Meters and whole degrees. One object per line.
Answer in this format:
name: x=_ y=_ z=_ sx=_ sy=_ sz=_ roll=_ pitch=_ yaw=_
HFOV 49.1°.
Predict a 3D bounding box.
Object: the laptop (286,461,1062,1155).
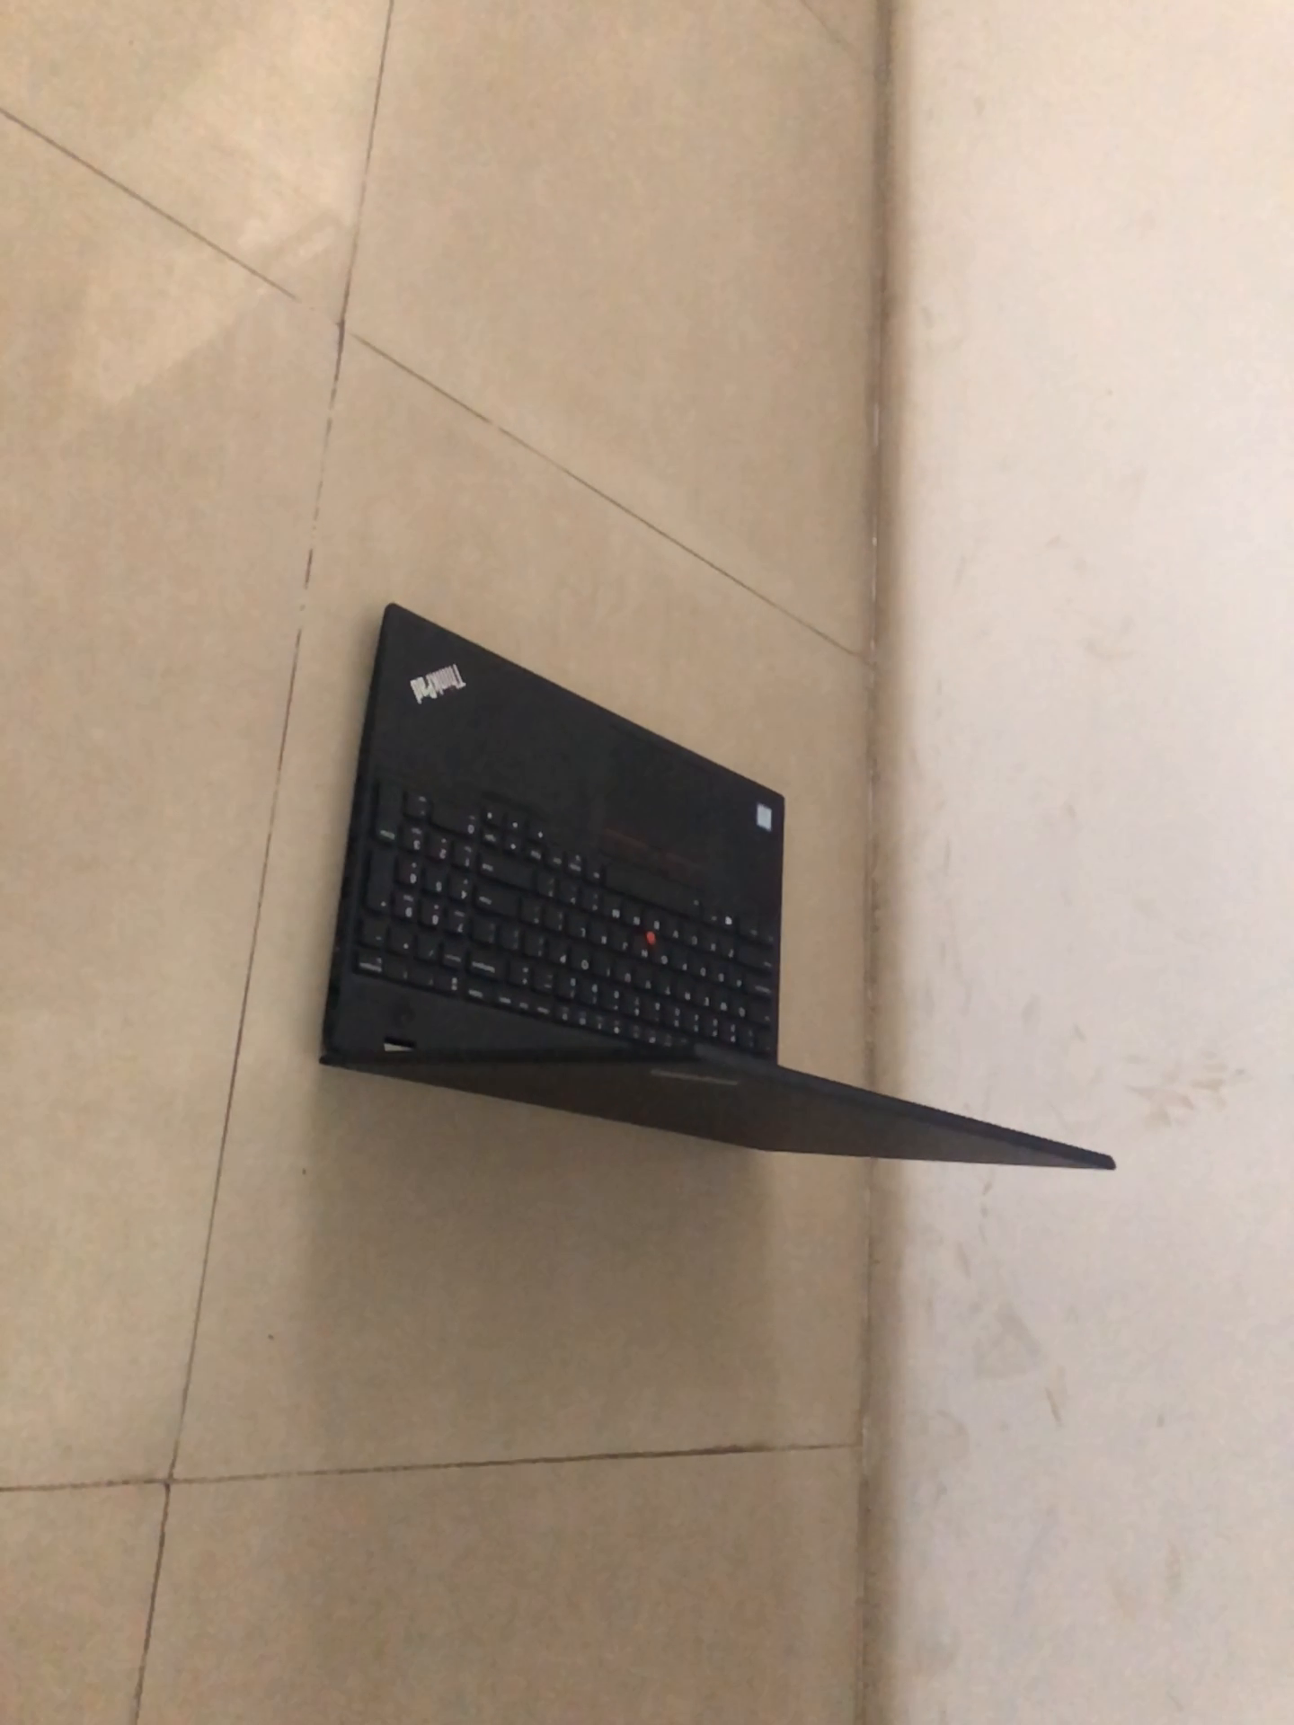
laptop: x=0.039 y=0.010 z=0.783 sx=0.355 sy=0.240 sz=0.255 roll=22 pitch=65 yaw=-45
